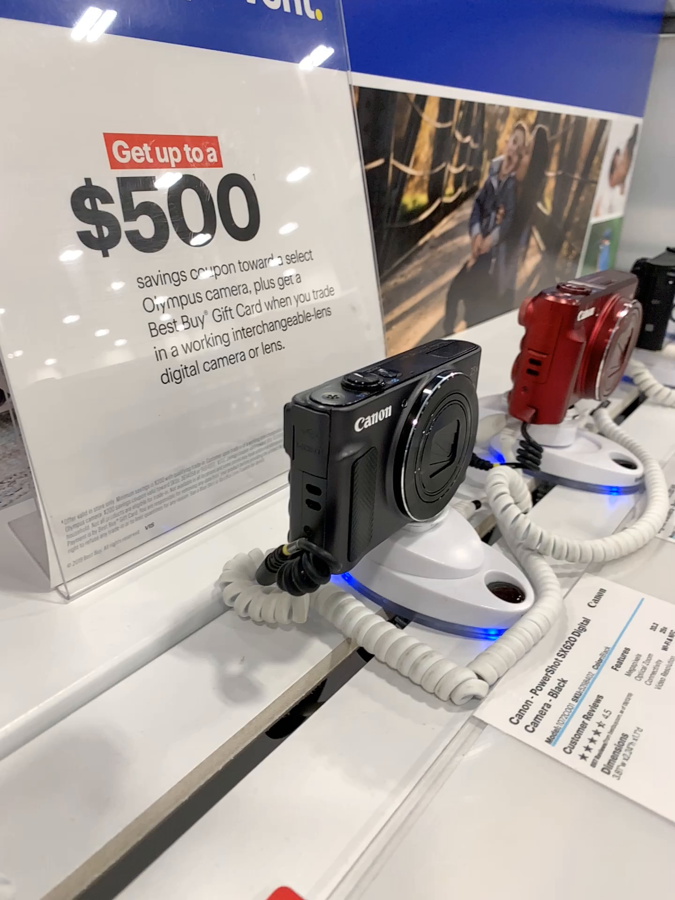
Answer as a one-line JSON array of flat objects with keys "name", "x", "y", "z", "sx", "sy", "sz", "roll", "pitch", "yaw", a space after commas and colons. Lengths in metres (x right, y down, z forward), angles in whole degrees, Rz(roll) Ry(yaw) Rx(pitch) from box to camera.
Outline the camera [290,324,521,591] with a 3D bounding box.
[{"name": "camera", "x": 0.027, "y": -0.004, "z": 0.249, "sx": 0.030, "sy": 0.060, "sz": 0.100, "roll": 18, "pitch": 29, "yaw": 32}]
